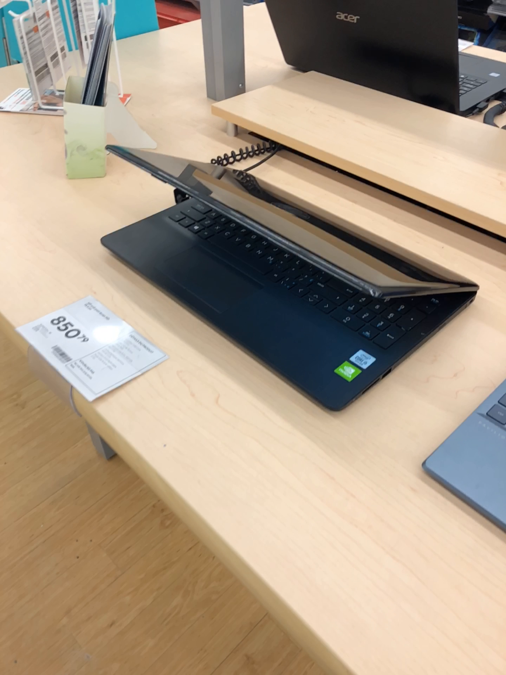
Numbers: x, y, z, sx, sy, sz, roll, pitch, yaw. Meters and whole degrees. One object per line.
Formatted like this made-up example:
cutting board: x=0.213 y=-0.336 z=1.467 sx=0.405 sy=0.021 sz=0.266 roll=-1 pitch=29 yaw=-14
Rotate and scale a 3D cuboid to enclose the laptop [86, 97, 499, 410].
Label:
laptop: x=0.026 y=-0.128 z=0.608 sx=0.239 sy=0.115 sz=0.372 roll=-32 pitch=50 yaw=-30
